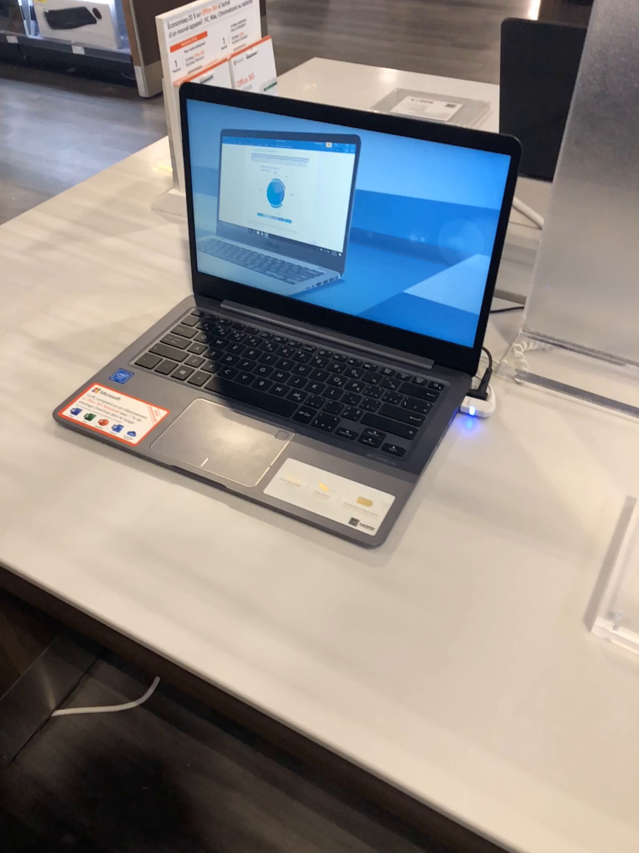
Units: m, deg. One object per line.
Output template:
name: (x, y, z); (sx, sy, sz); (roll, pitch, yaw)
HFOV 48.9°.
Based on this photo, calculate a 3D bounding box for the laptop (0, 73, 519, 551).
laptop: (-0.038, -0.129, 0.620); (0.333, 0.180, 0.301); (18, 51, 18)
